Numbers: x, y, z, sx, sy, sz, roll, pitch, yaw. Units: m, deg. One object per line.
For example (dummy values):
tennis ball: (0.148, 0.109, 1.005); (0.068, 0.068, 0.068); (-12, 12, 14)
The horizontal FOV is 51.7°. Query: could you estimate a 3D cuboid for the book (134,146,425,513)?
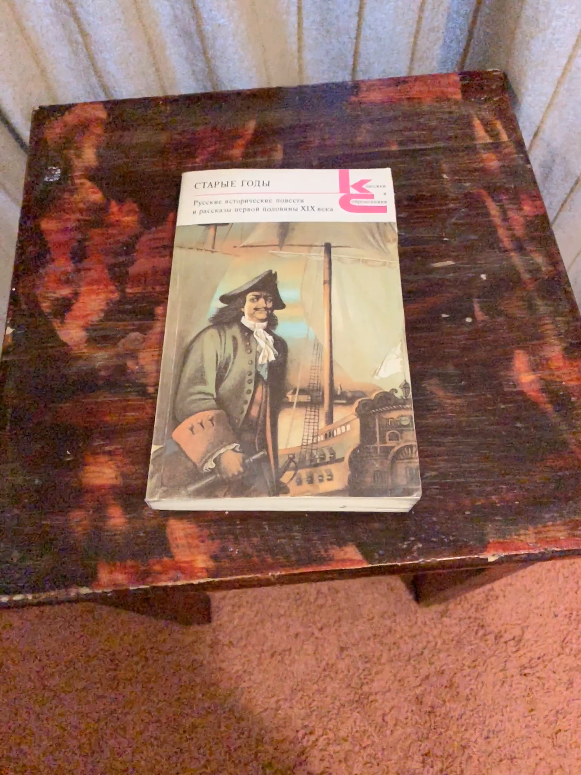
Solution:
book: (-0.004, -0.038, 0.307); (0.123, 0.026, 0.198); (-1, 65, 2)
